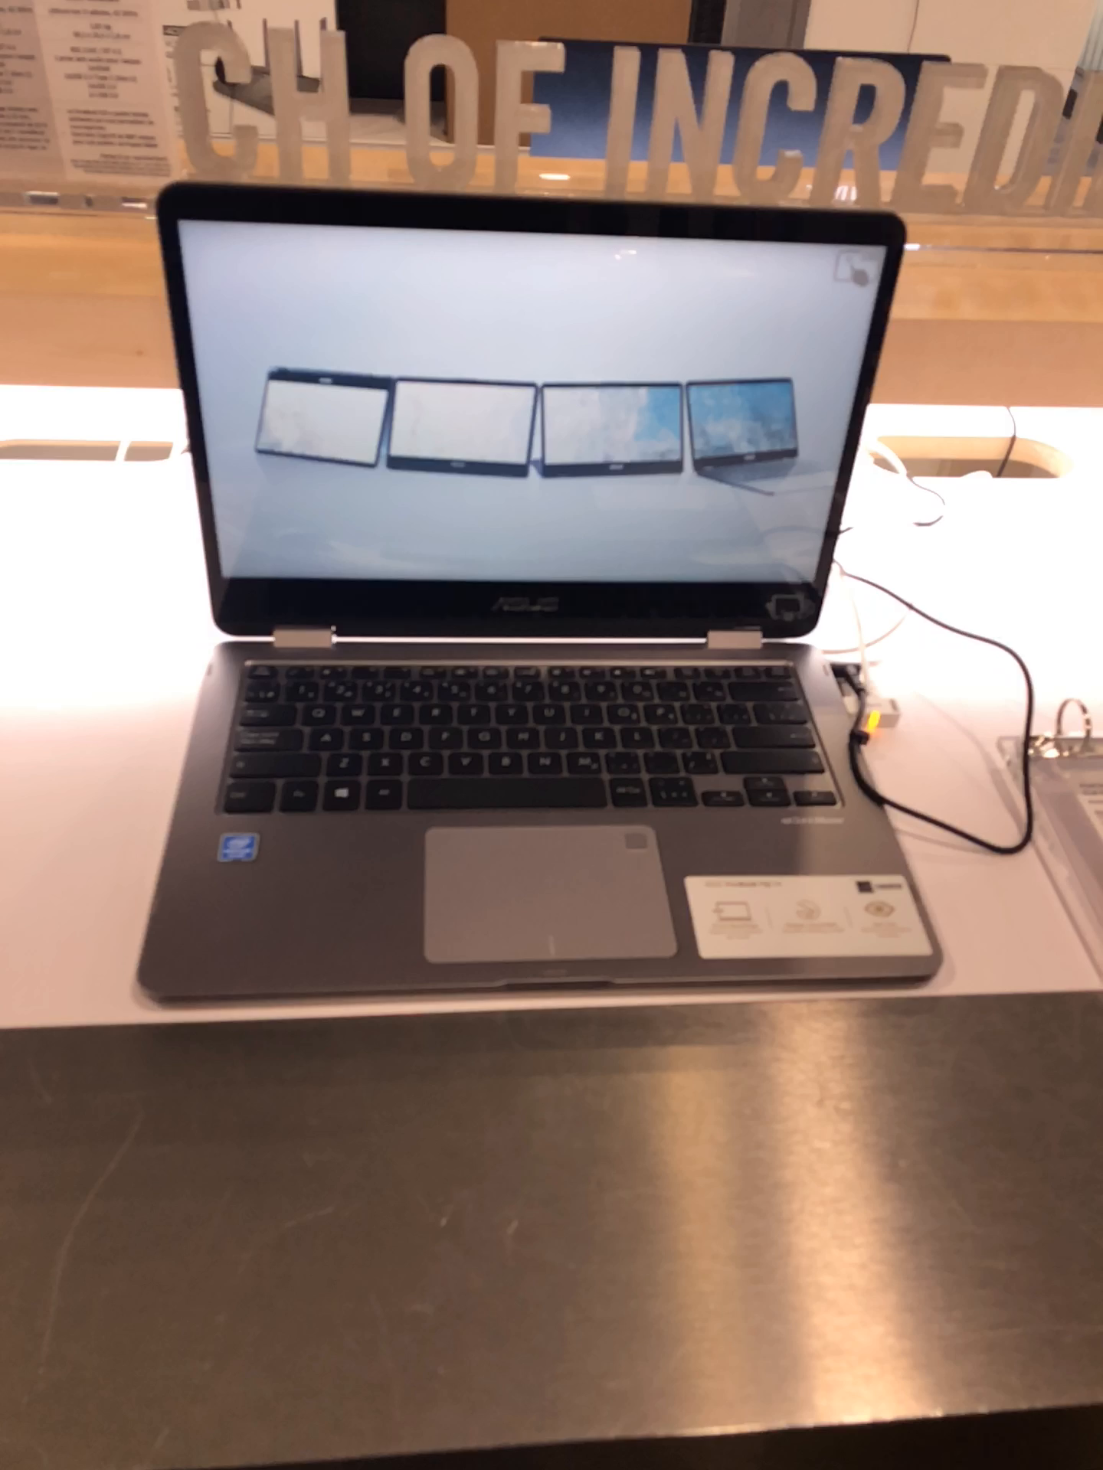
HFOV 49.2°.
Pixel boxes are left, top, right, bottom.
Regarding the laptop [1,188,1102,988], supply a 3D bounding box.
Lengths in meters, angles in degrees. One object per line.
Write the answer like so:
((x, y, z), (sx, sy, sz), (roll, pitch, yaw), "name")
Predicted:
((0.000, -0.058, 0.460), (0.303, 0.210, 0.211), (0, 42, -5), "laptop")
